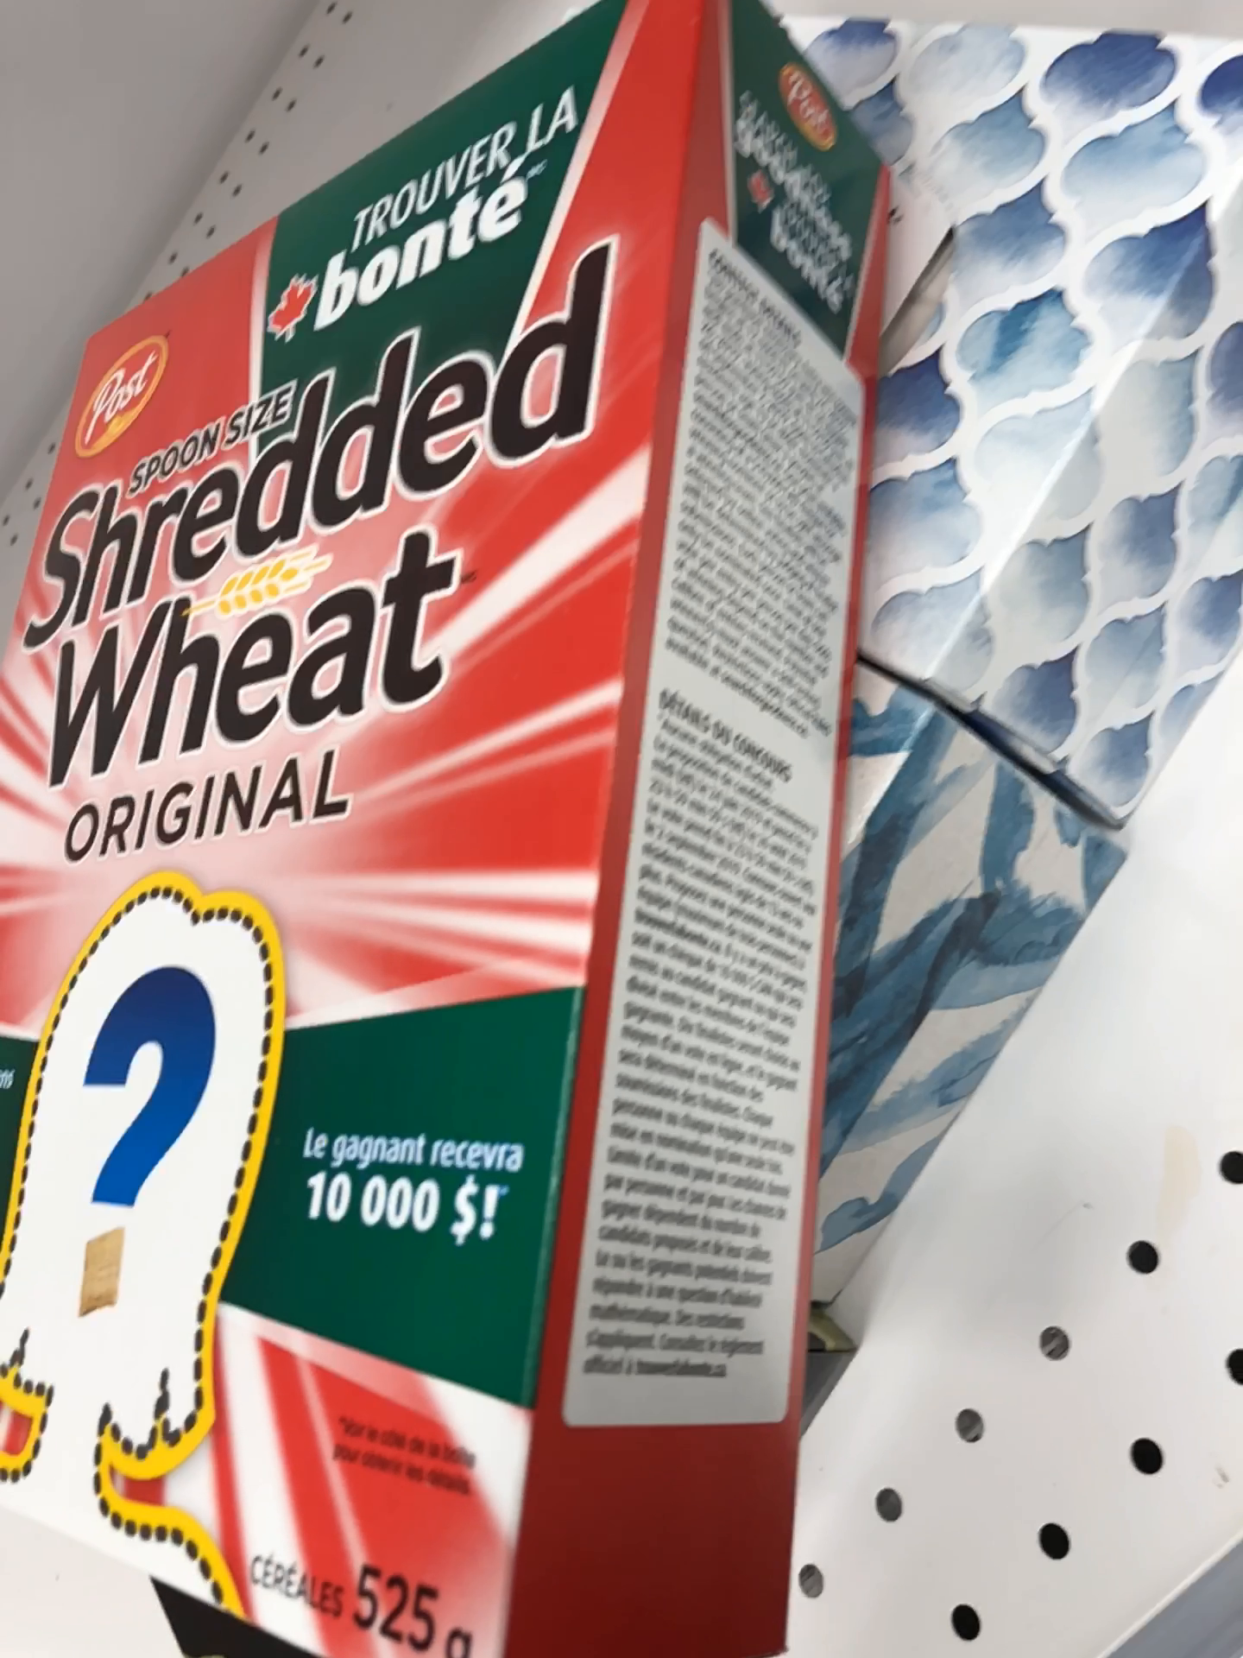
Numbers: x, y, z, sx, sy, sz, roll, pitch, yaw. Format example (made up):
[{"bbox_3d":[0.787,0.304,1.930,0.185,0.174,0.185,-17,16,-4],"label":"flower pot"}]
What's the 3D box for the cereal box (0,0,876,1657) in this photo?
[{"bbox_3d":[-0.072,-0.014,0.272,0.231,0.060,0.280,-10,66,41],"label":"cereal box"}]
